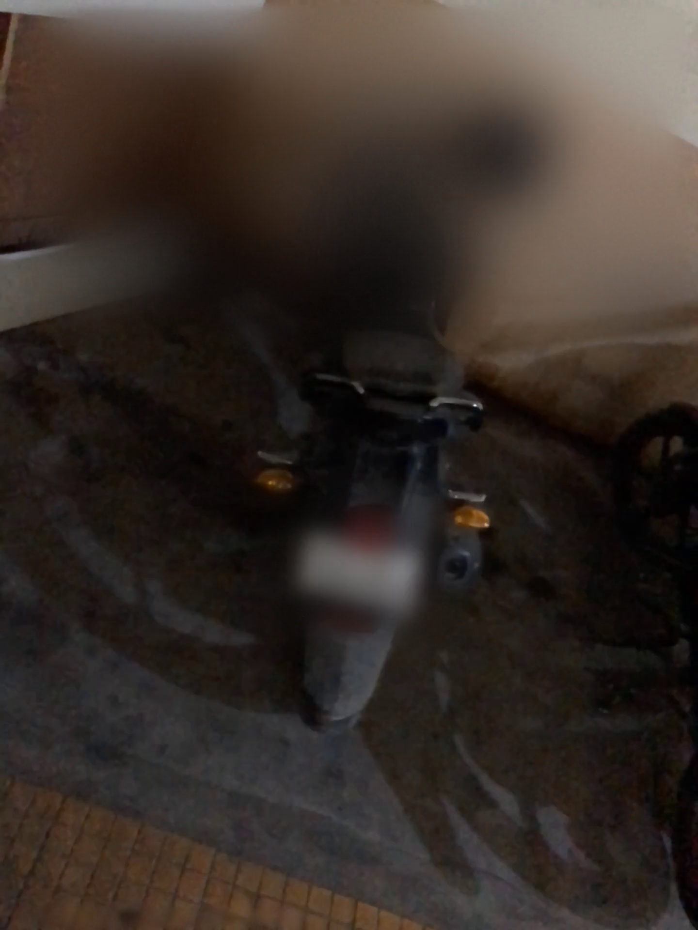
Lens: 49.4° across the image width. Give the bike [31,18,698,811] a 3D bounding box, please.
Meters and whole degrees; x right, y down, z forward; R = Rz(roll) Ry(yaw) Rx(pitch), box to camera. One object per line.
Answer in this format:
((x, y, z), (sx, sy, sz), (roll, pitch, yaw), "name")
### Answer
((-0.038, -0.283, 1.963), (0.717, 1.179, 1.712), (22, 35, -12), "bike")
